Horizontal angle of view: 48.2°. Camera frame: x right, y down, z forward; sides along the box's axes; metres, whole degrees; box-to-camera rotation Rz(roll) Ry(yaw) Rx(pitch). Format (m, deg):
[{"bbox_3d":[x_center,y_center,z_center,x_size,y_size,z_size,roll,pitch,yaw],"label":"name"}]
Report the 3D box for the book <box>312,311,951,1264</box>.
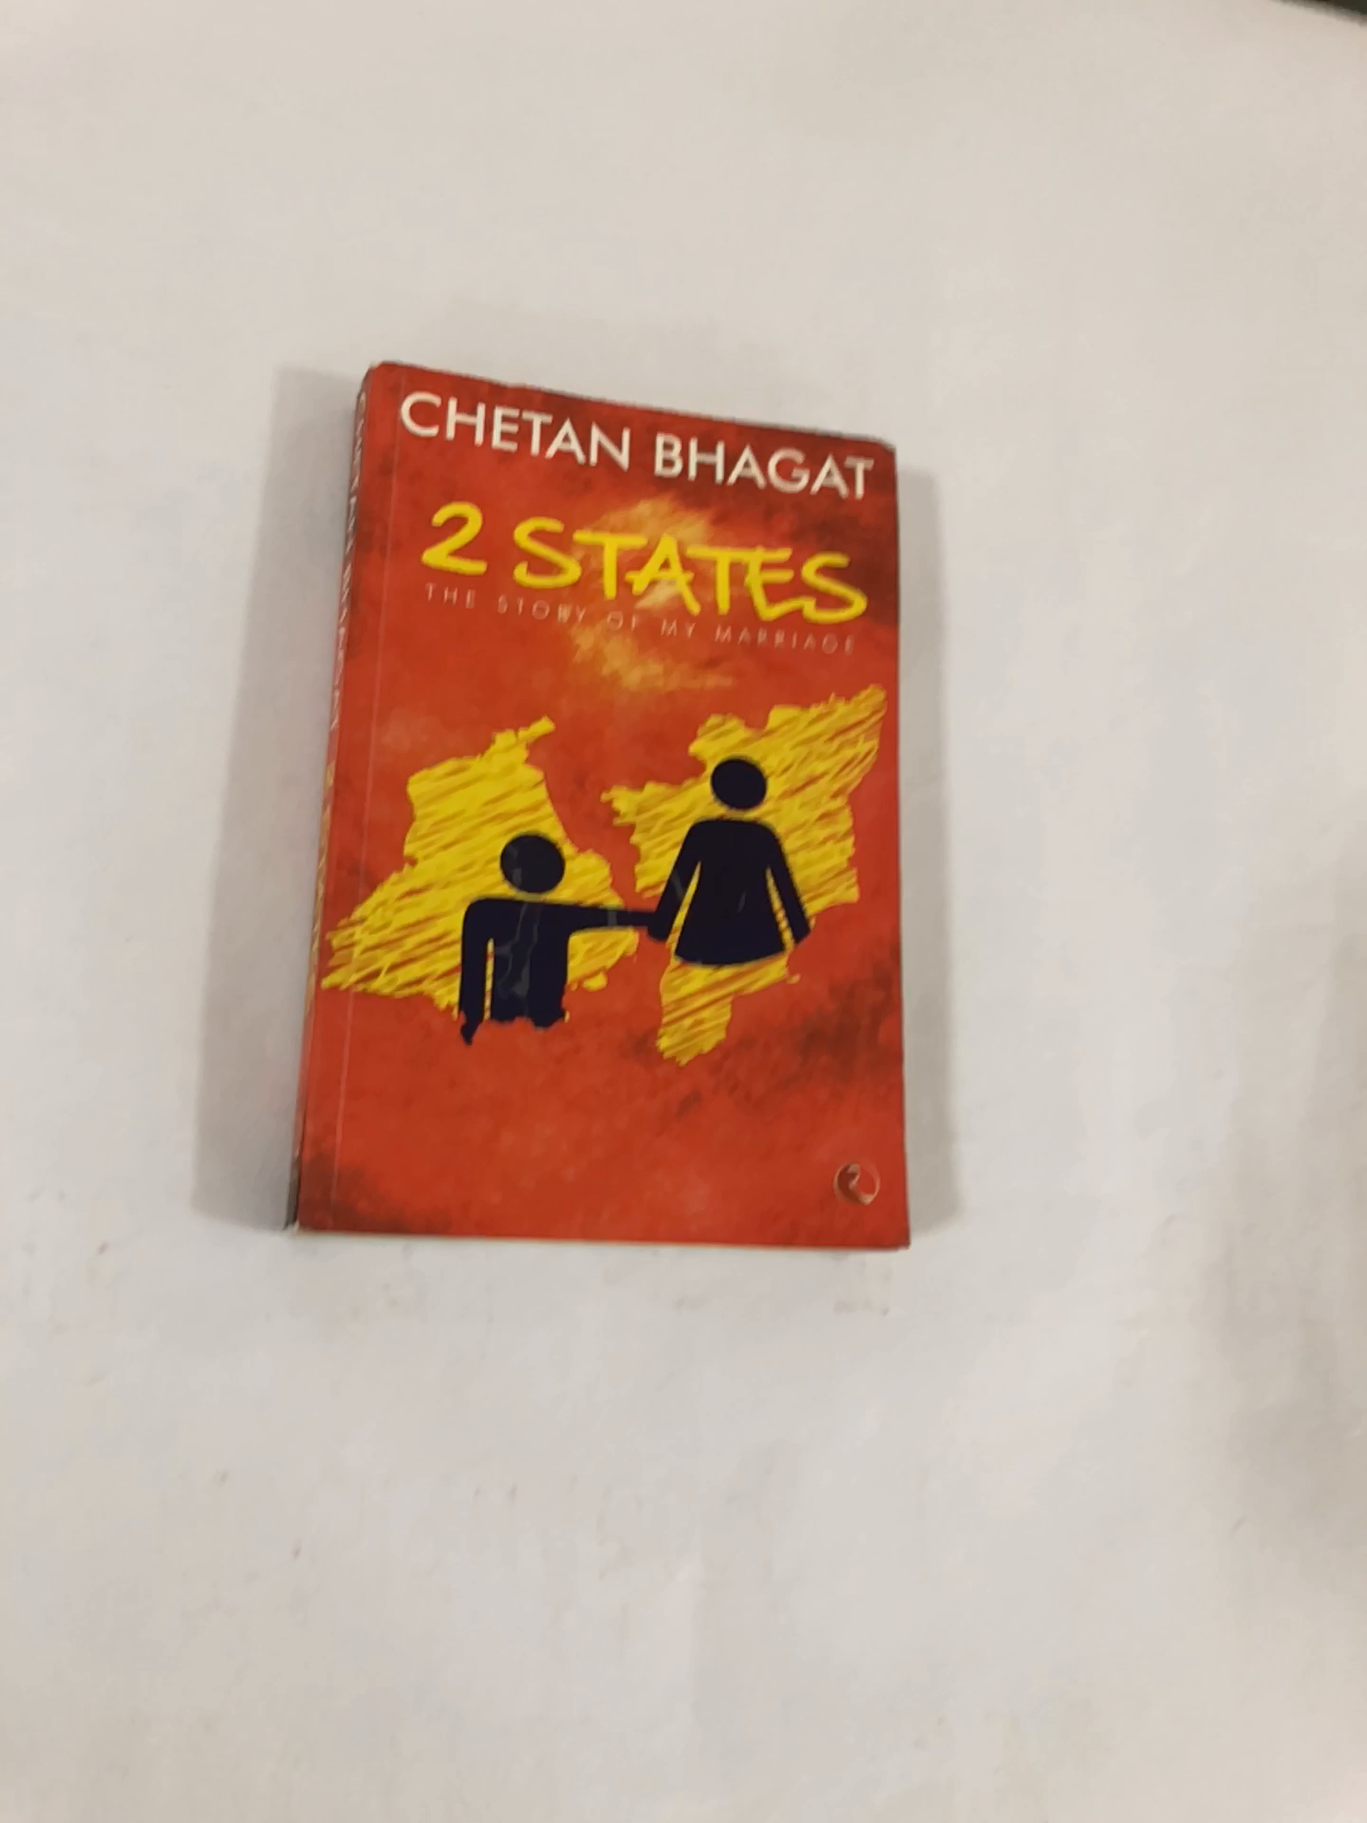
[{"bbox_3d":[-0.008,-0.024,0.332,0.123,0.040,0.190,6,74,-15],"label":"book"}]
